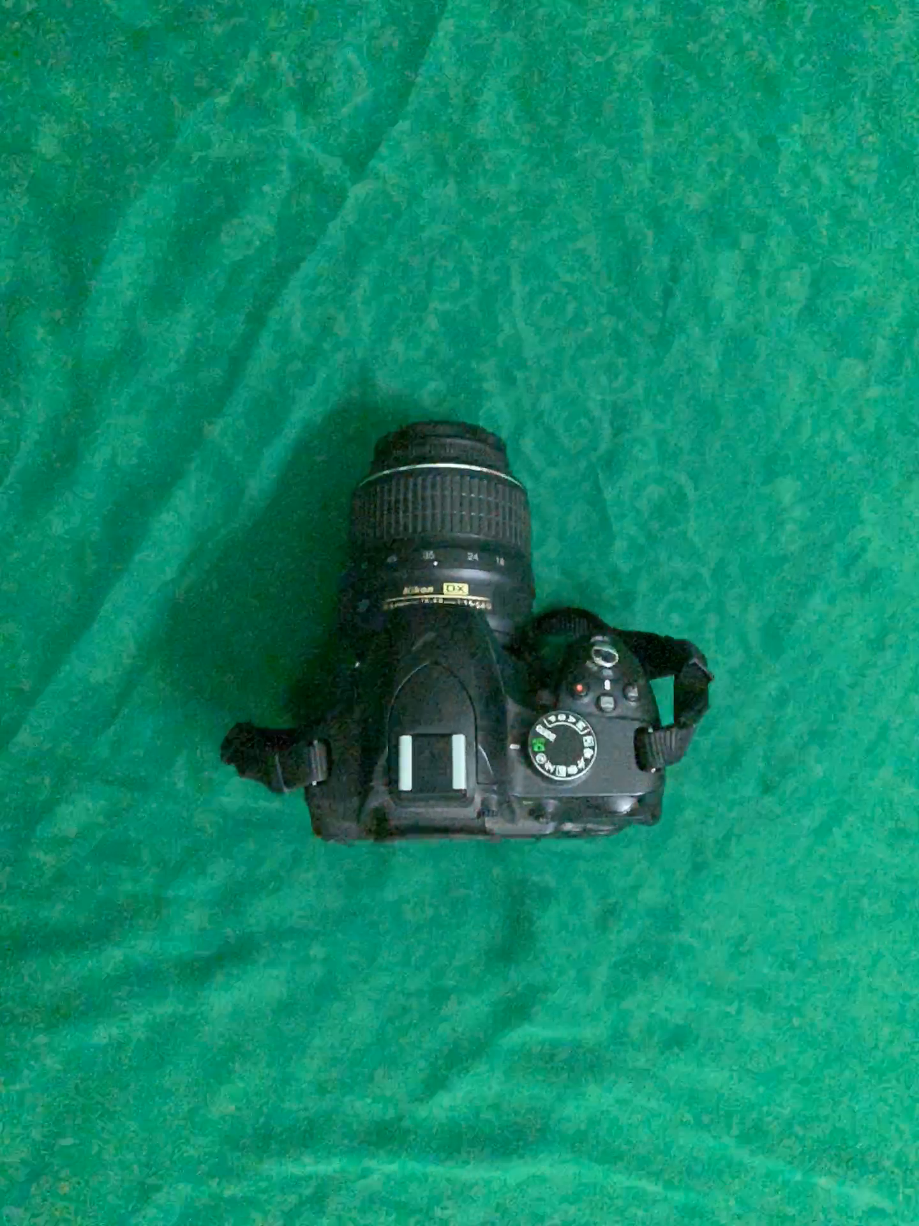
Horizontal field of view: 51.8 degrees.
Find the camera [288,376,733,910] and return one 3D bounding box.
[{"bbox_3d":[0.011,0.014,0.347,0.133,0.100,0.166,-2,79,-2],"label":"camera"}]
